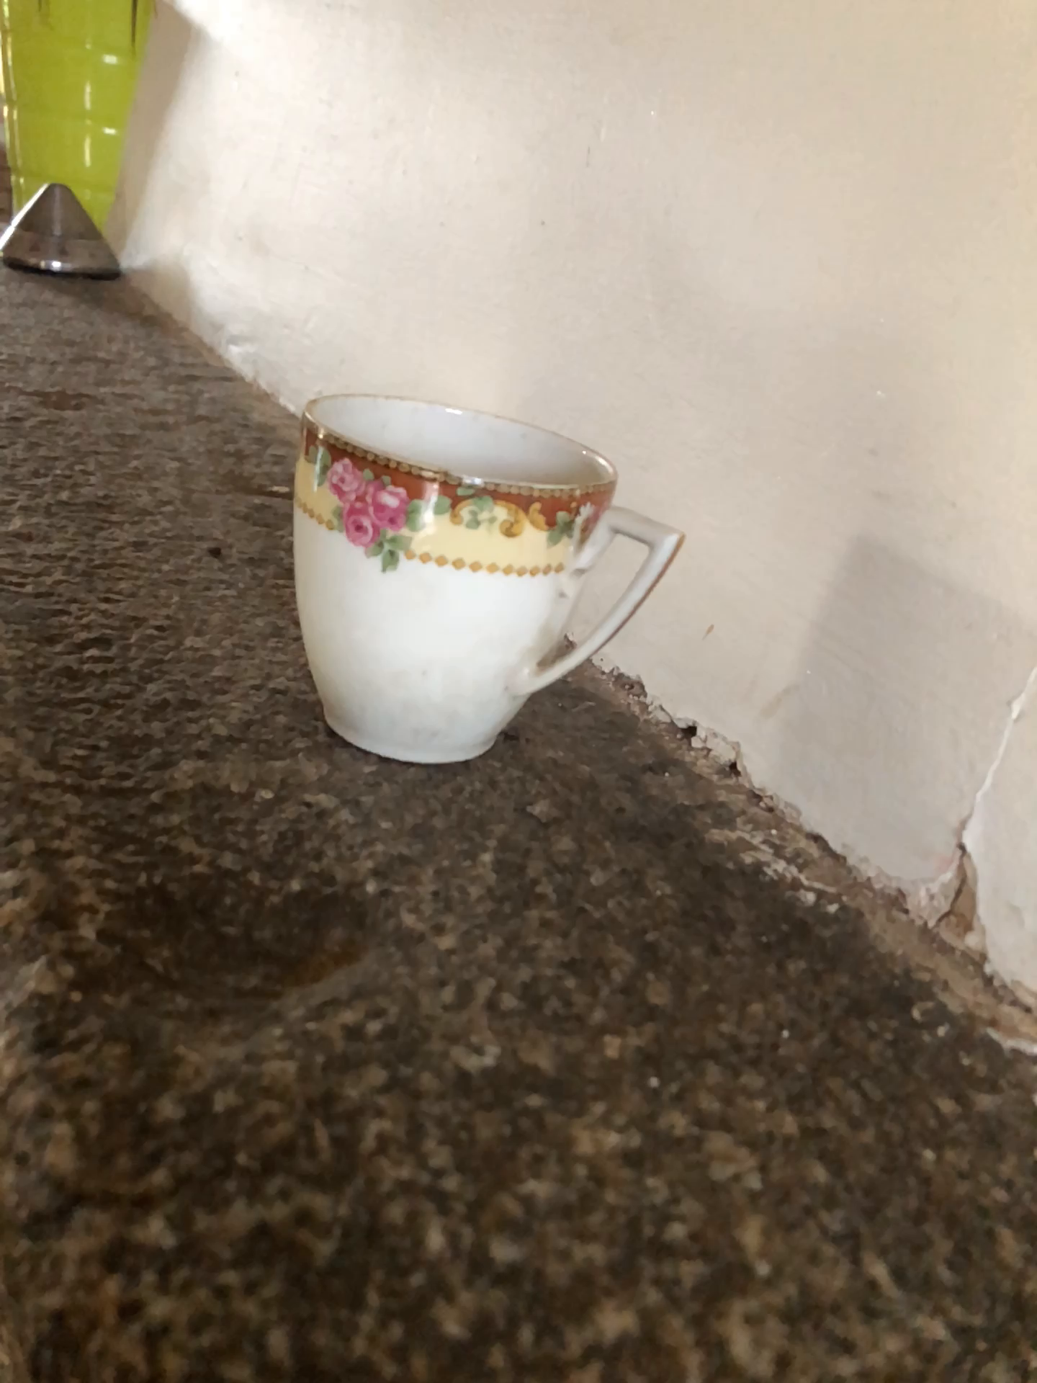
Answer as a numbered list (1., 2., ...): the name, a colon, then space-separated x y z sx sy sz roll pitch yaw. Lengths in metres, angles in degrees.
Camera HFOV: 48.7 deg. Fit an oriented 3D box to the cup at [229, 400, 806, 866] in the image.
1. cup: -0.004 -0.020 0.241 0.070 0.060 0.090 -11 31 -43
